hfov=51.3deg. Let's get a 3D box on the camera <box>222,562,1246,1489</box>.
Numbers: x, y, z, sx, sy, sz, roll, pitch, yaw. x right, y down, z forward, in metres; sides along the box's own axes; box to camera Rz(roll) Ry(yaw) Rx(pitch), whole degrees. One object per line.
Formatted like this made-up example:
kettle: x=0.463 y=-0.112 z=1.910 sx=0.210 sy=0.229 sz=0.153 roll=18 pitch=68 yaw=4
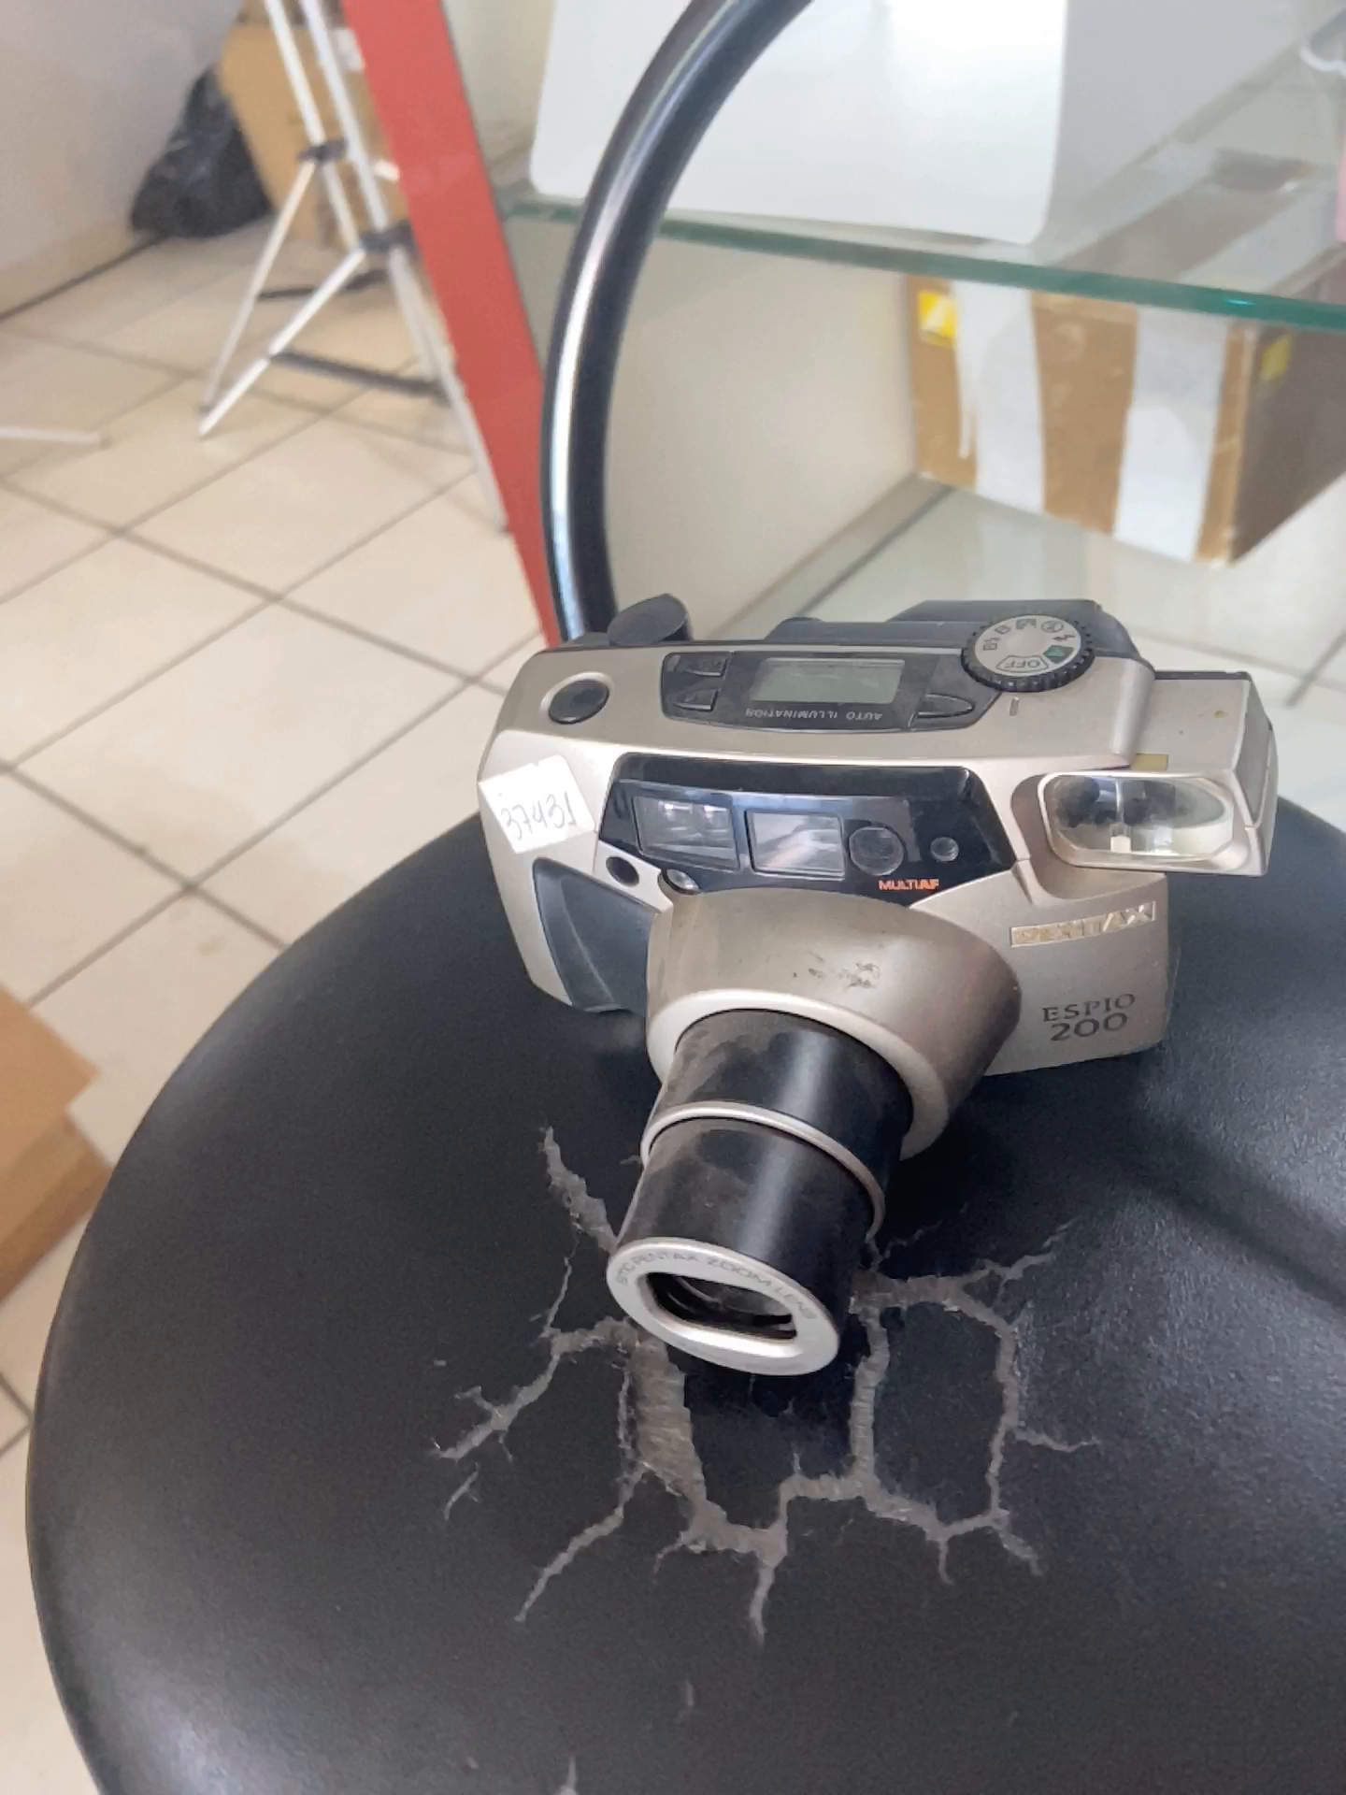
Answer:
camera: x=0.023 y=0.013 z=0.238 sx=0.130 sy=0.080 sz=0.121 roll=2 pitch=45 yaw=19
